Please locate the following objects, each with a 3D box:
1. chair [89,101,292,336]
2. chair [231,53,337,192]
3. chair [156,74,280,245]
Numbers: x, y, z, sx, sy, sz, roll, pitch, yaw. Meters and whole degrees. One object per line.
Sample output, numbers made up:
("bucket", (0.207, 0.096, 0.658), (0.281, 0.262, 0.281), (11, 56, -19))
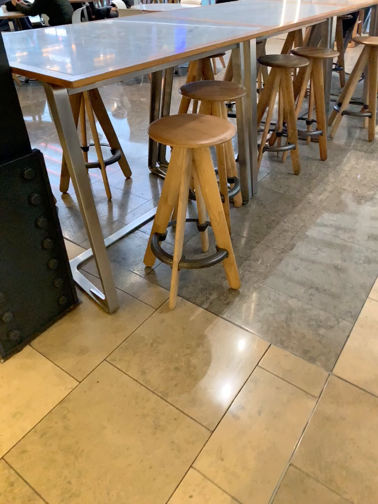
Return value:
("chair", (0.018, -0.172, 1.647), (0.554, 0.705, 0.536), (23, 43, 27))
("chair", (0.607, -0.869, 2.547), (0.434, 0.705, 0.476), (23, 43, 27))
("chair", (0.149, -0.511, 2.083), (0.424, 0.705, 0.466), (23, 43, 27))
